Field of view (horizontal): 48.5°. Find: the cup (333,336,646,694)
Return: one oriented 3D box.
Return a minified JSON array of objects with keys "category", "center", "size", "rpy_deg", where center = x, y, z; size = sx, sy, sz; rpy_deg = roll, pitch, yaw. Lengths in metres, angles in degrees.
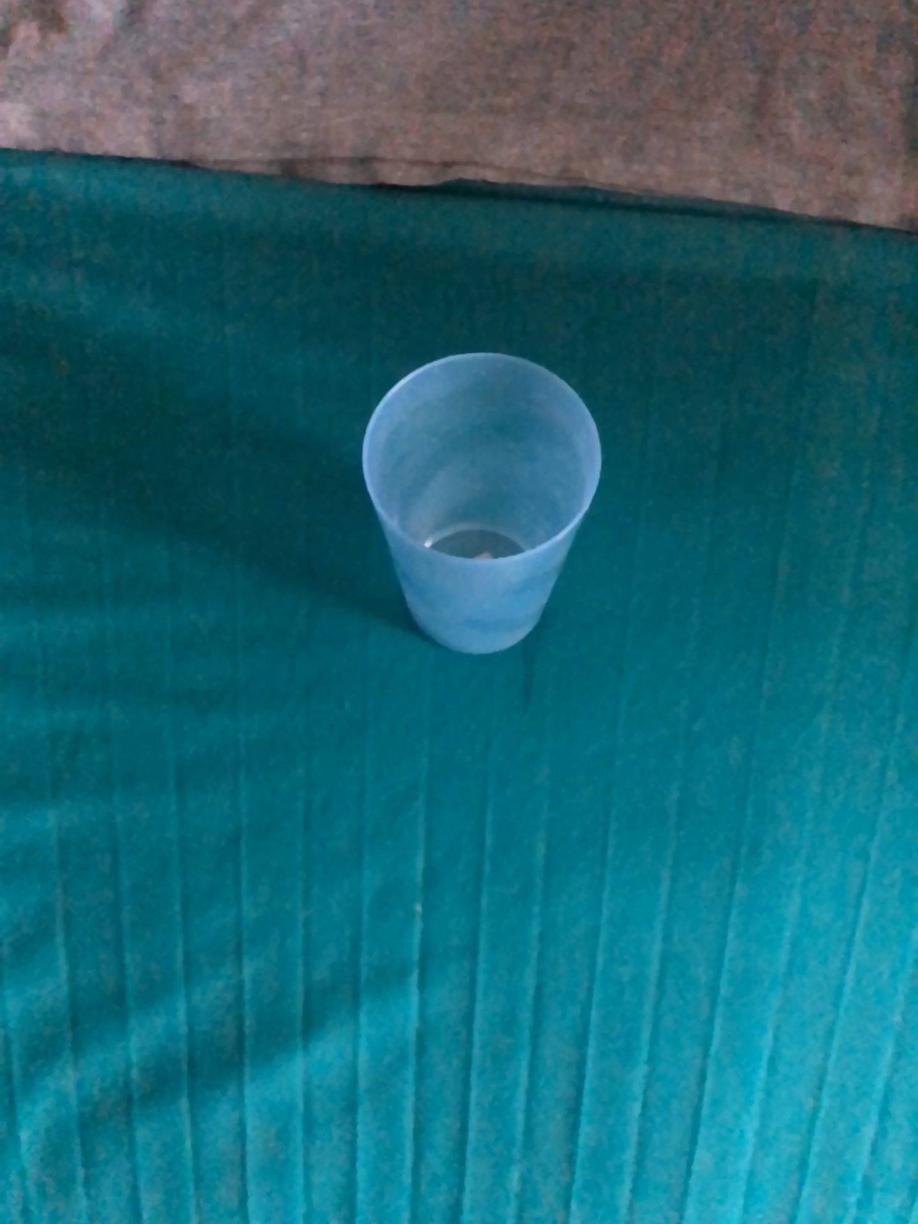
[{"category":"cup","center":[0.009,-0.024,0.339],"size":[0.078,0.119,0.066],"rpy_deg":[9,72,2]}]
